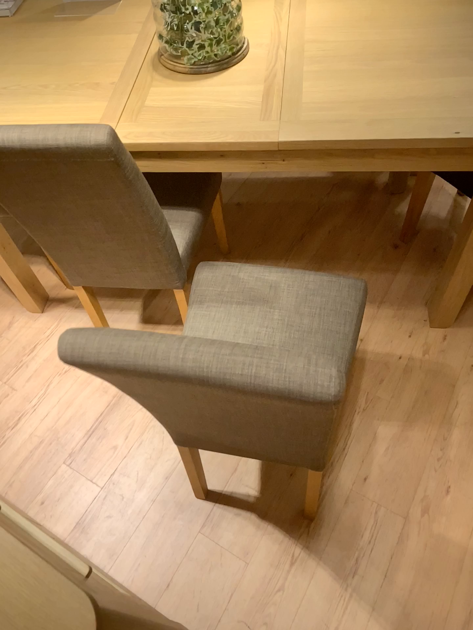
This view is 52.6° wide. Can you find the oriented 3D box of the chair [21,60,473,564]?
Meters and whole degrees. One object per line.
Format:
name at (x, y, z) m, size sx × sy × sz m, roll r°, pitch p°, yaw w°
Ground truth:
chair at (0.100, 0.079, 1.052) m, size 0.490 × 0.952 × 0.614 m, roll 7°, pitch 55°, yaw 11°
